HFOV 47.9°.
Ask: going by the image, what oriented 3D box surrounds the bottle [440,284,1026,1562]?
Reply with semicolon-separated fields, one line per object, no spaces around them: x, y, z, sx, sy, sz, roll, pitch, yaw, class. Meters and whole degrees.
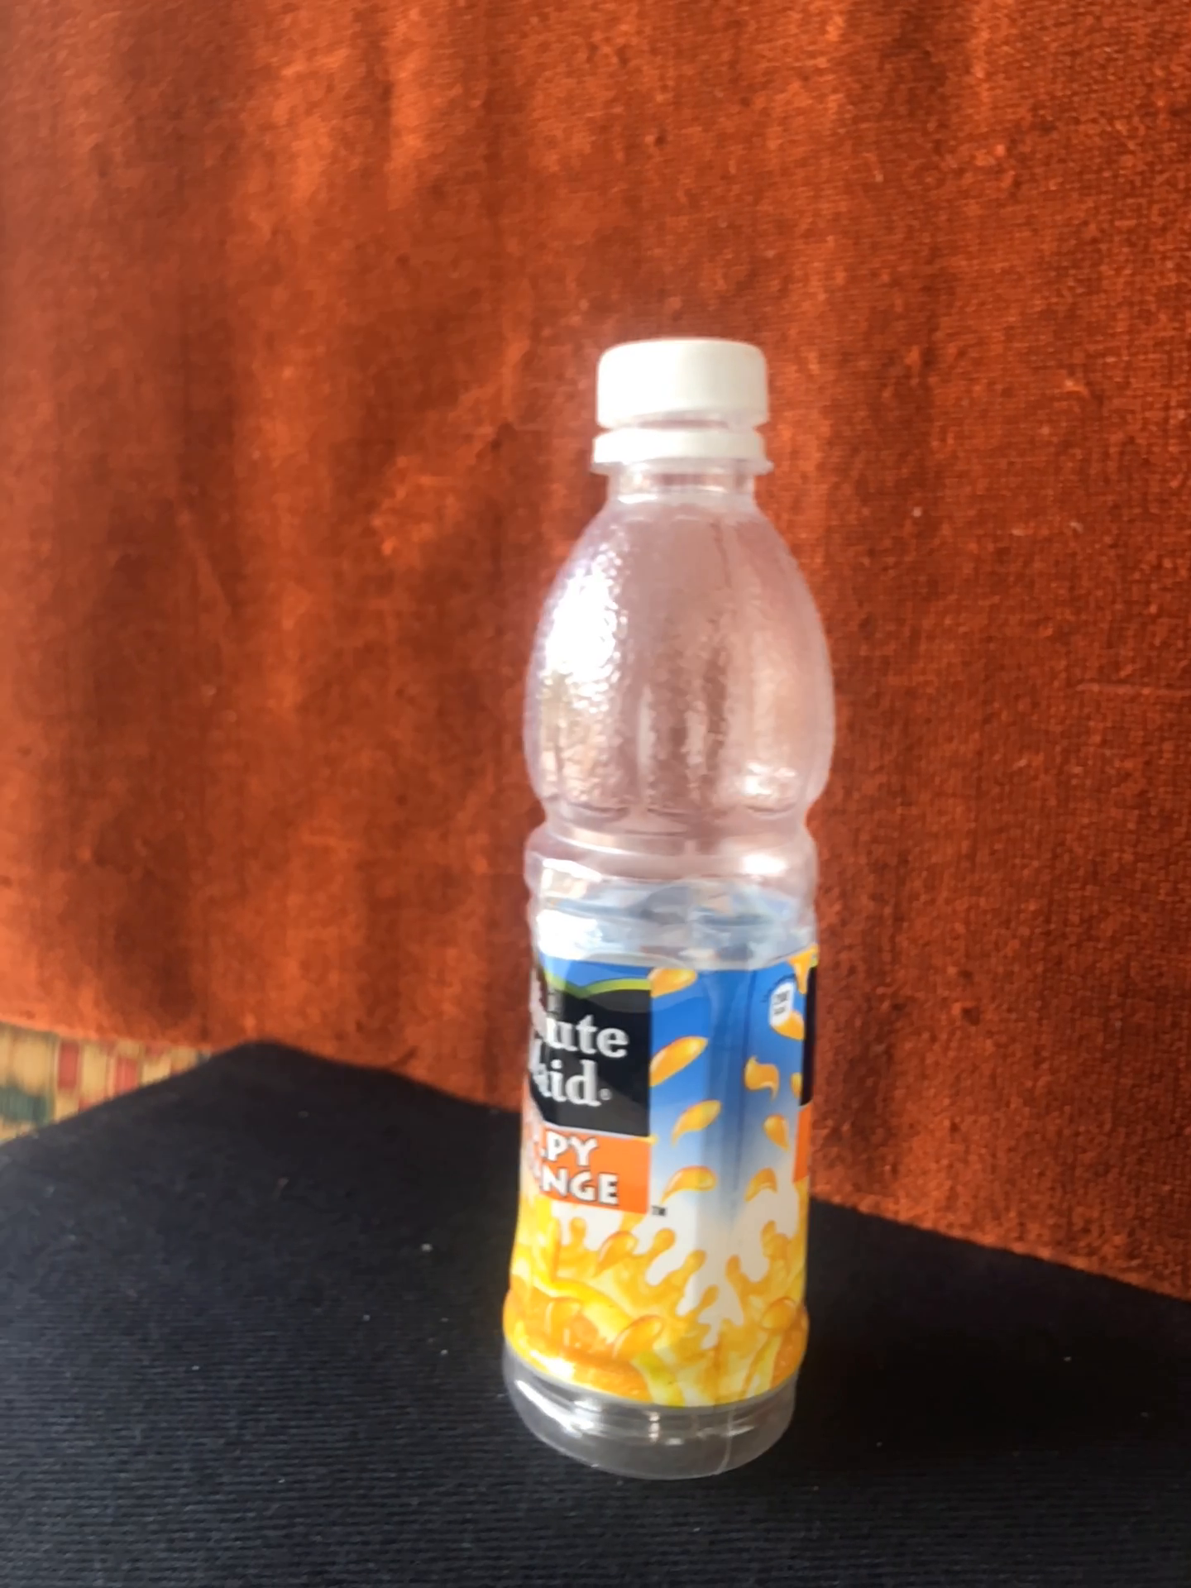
0.022;0.019;0.251;0.070;0.200;0.070;2;10;0;bottle
